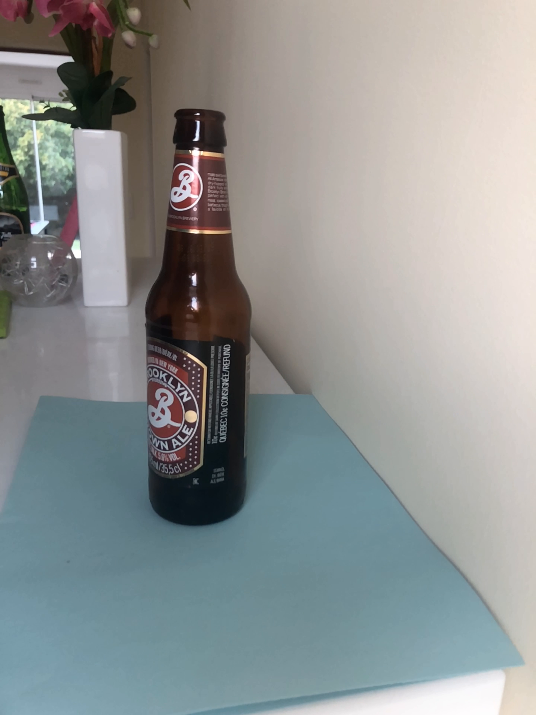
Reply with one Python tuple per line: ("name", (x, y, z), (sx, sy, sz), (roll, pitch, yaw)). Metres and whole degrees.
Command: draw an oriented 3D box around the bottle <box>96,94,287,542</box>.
("bottle", (-0.043, -0.022, 0.342), (0.070, 0.229, 0.070), (2, 17, 0))
